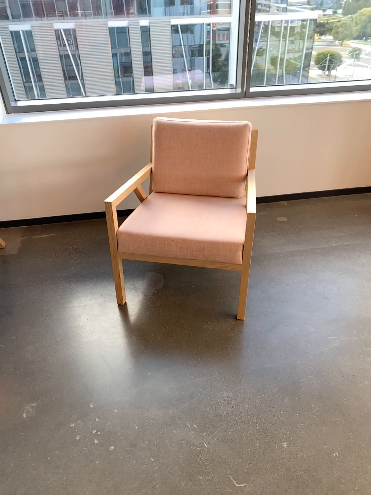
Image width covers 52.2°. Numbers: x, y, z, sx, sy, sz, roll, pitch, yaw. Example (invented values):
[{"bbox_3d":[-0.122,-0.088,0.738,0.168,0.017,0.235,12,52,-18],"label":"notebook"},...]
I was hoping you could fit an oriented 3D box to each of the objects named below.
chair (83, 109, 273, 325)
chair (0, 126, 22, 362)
[{"bbox_3d":[0.034,-0.206,1.995,0.741,0.795,0.774,5,34,10],"label":"chair"},{"bbox_3d":[-1.377,-0.058,1.887,0.740,0.795,0.775,-7,36,-7],"label":"chair"}]
